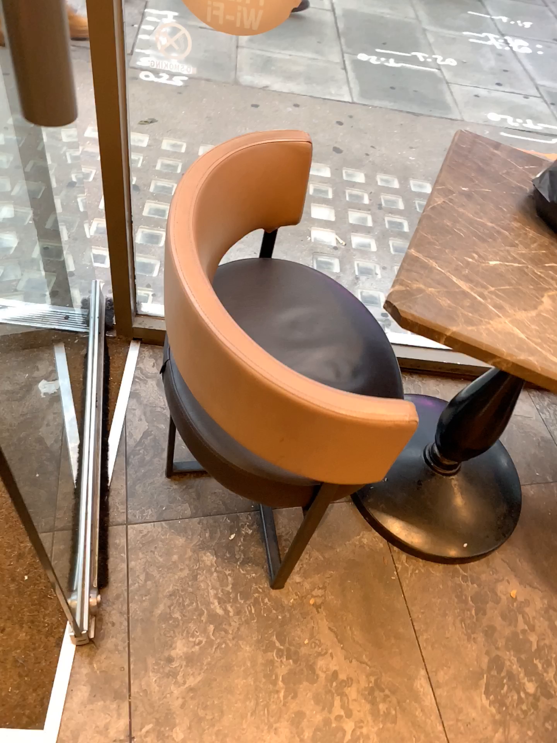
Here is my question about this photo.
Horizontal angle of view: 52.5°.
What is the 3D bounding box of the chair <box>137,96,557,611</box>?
[{"bbox_3d":[0.028,-0.011,1.142,0.510,0.654,0.767,4,51,-9],"label":"chair"}]
